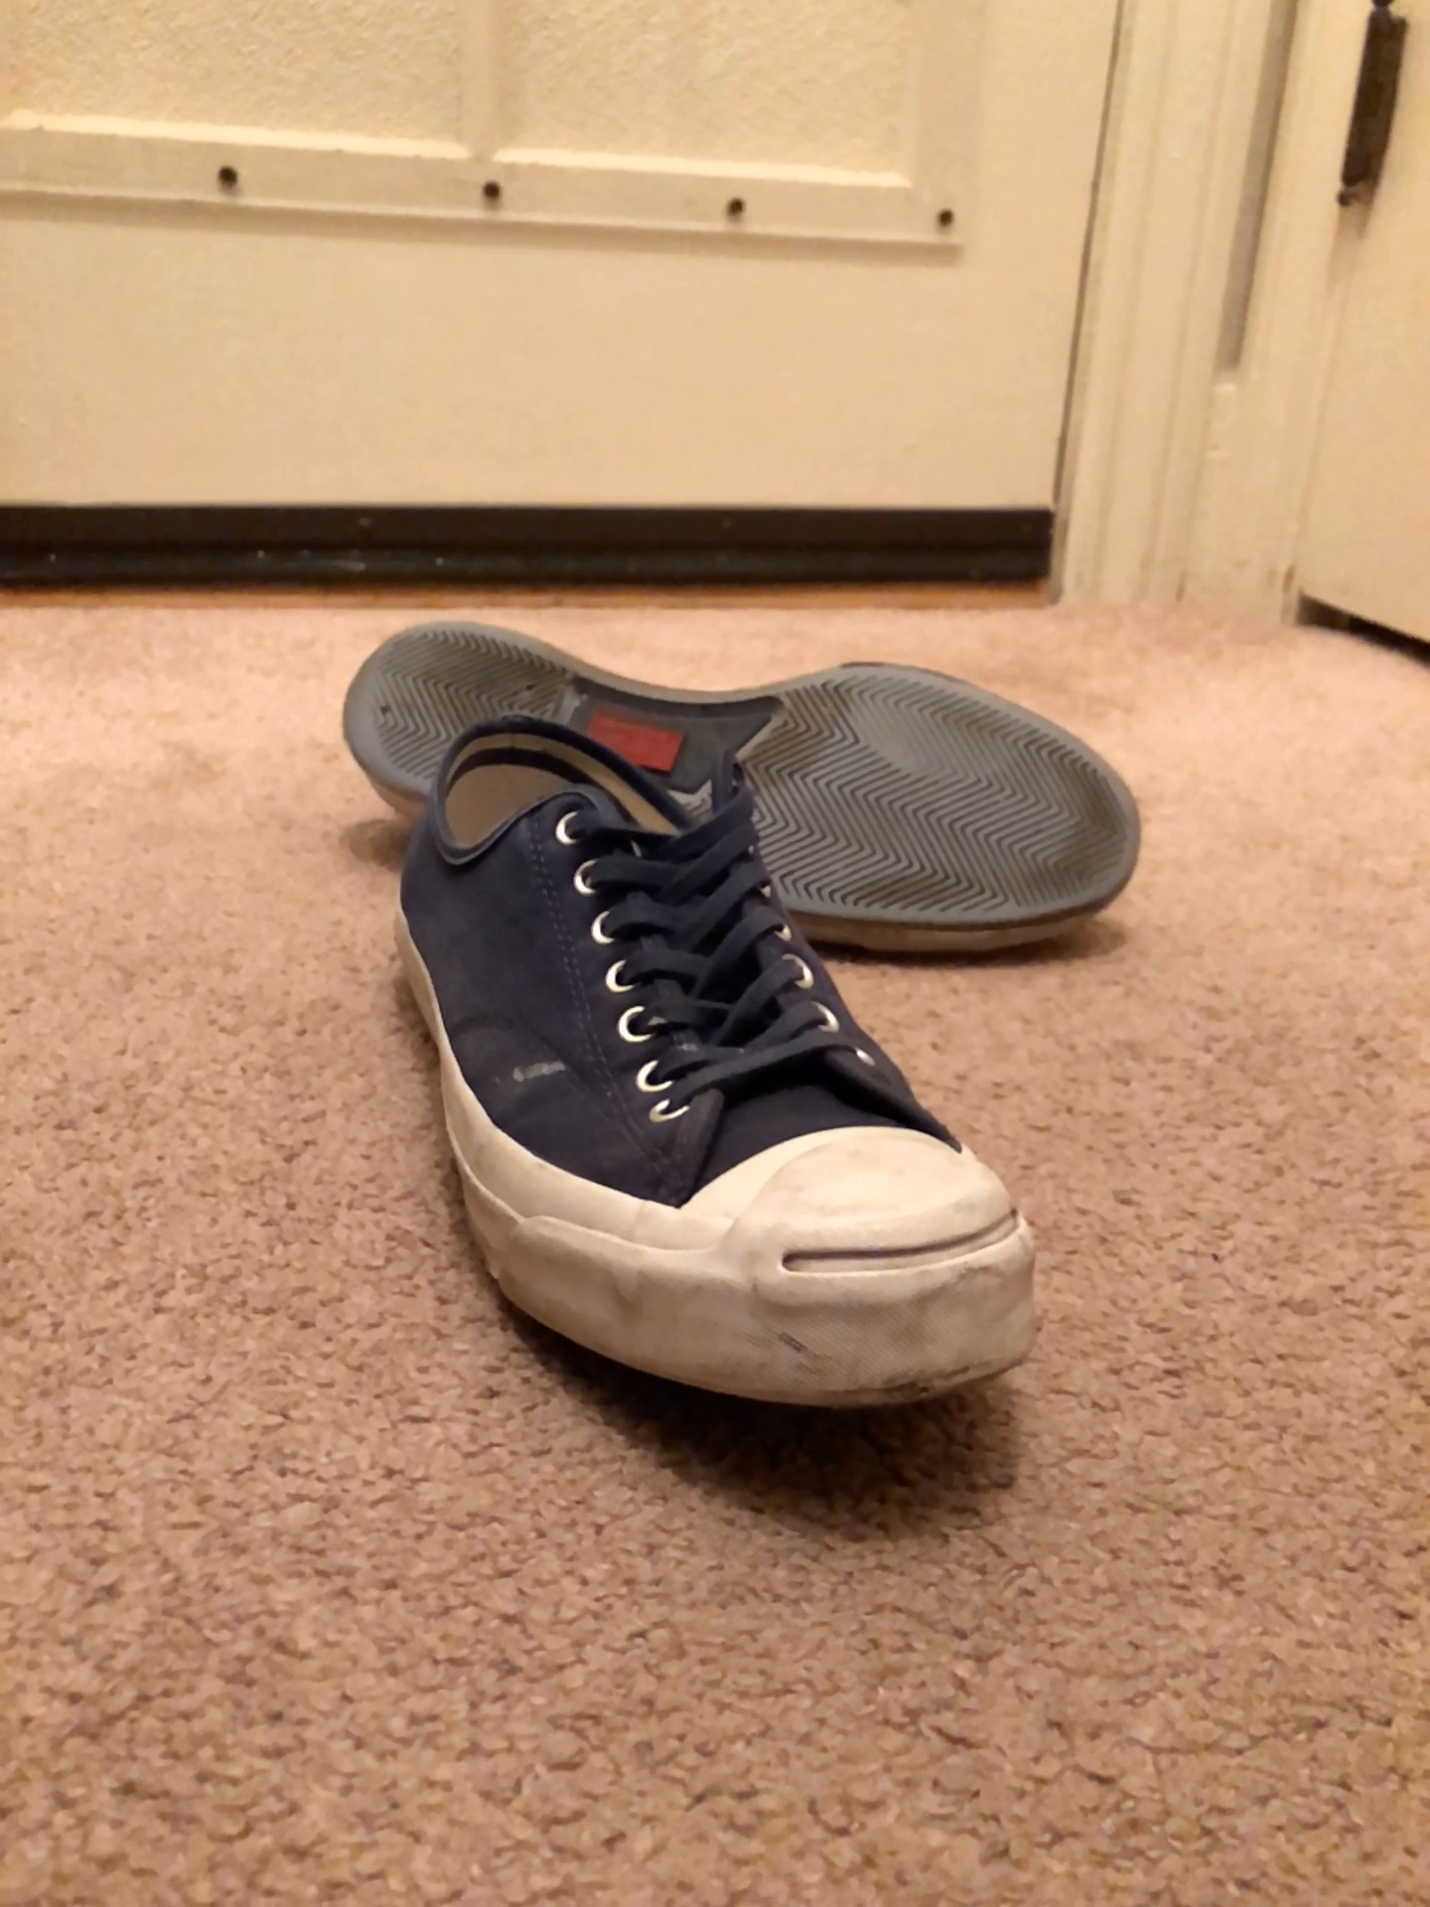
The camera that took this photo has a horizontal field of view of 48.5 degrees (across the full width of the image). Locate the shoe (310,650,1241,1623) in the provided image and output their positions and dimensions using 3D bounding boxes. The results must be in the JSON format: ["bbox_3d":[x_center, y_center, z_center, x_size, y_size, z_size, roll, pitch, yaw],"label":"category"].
[{"bbox_3d":[-0.018,0.008,0.396,0.116,0.099,0.287,-6,25,-21],"label":"shoe"}]

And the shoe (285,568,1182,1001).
[{"bbox_3d":[0.008,-0.061,0.587,0.296,0.104,0.099,9,-4,11],"label":"shoe"}]
